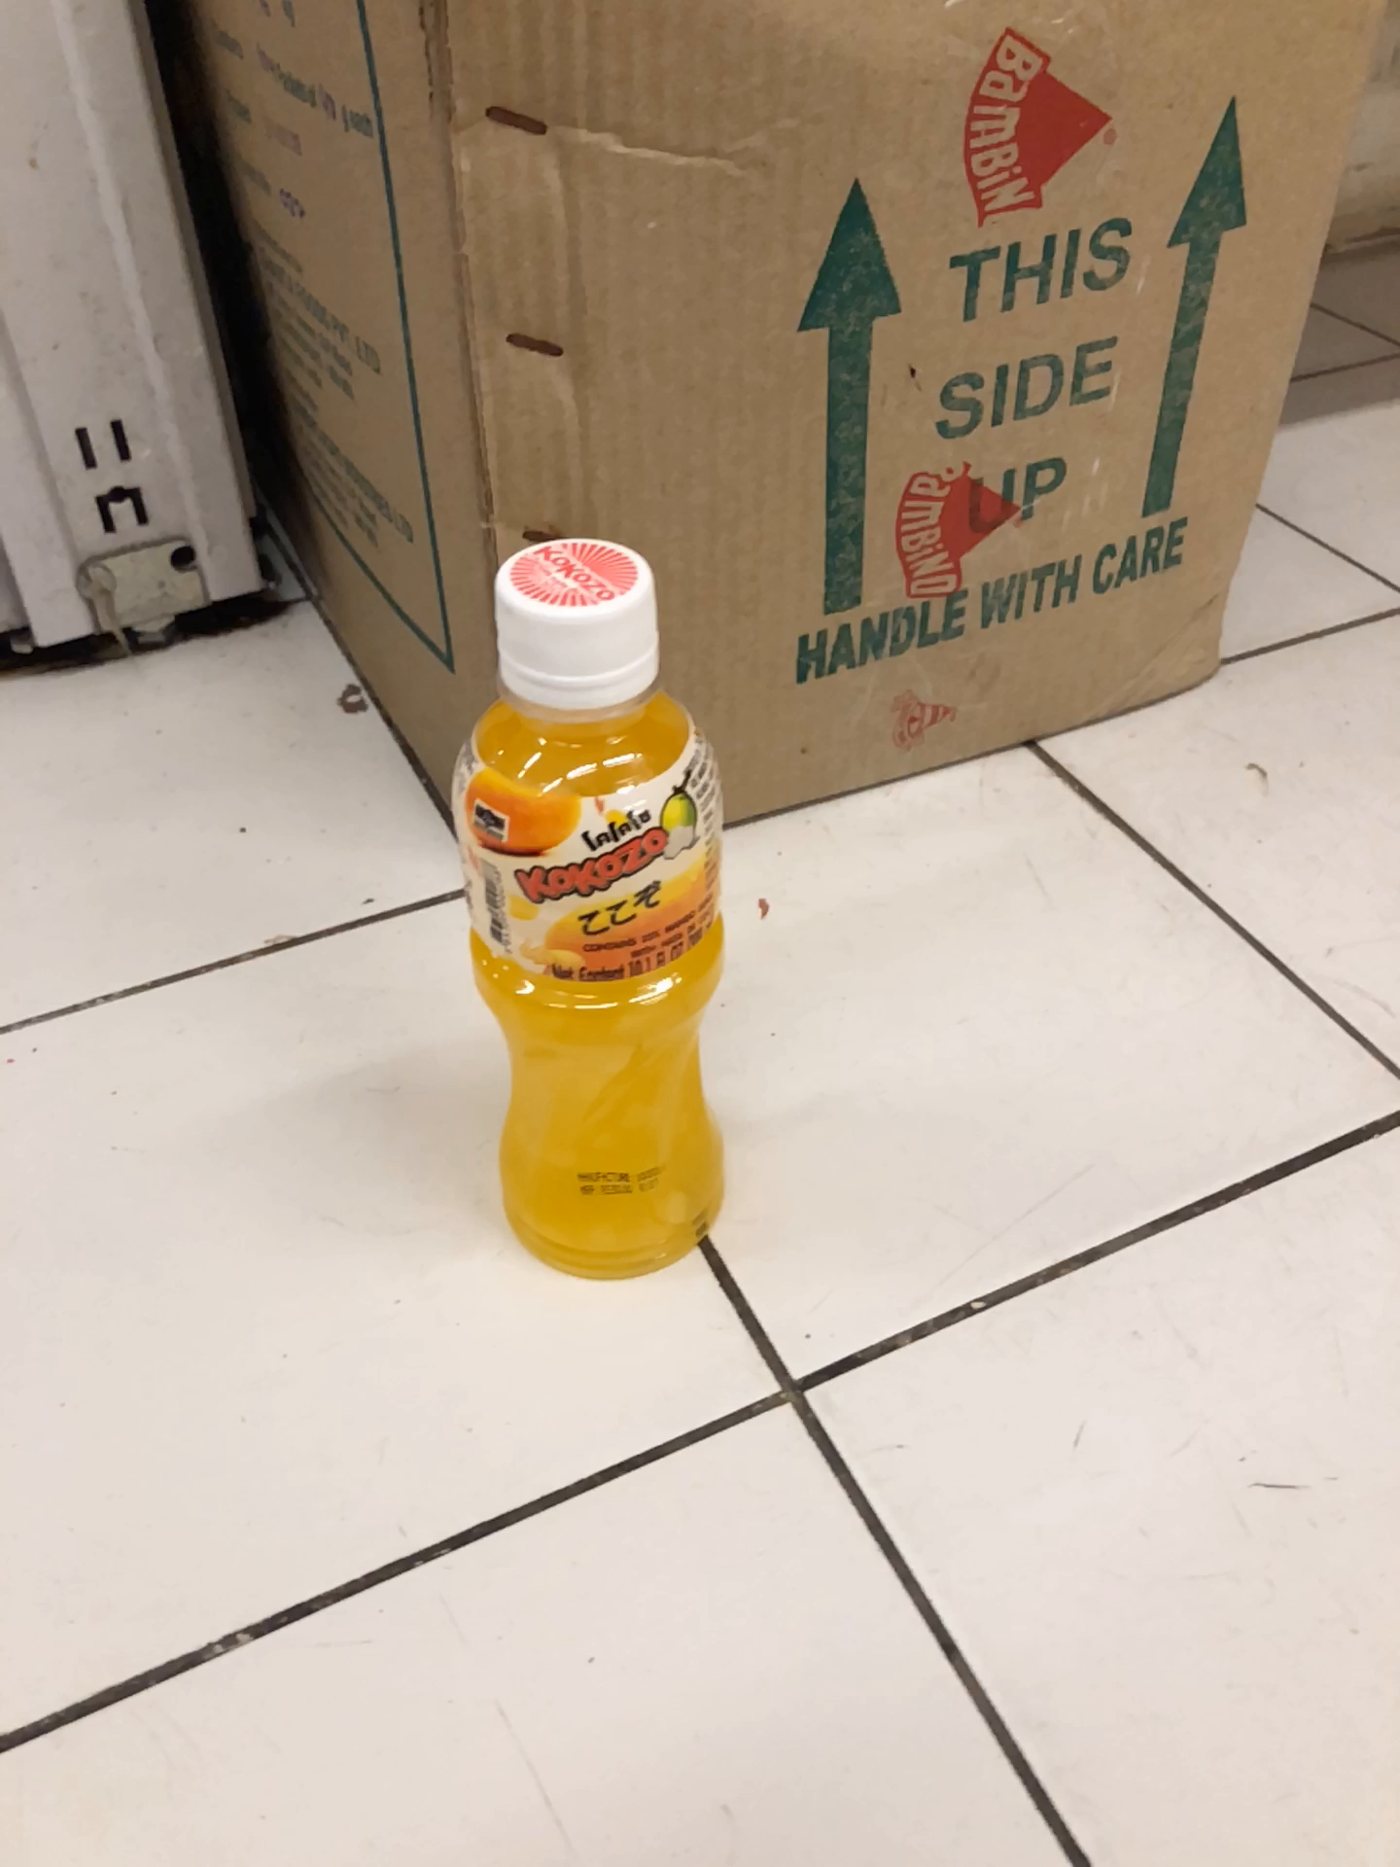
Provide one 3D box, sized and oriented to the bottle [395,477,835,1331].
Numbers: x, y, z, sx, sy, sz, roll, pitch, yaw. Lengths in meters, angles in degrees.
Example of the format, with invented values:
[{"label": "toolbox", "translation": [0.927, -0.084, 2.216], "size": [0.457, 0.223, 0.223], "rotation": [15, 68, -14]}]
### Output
[{"label": "bottle", "translation": [-0.019, 0.001, 0.349], "size": [0.070, 0.179, 0.070], "rotation": [0, 41, 0]}]
